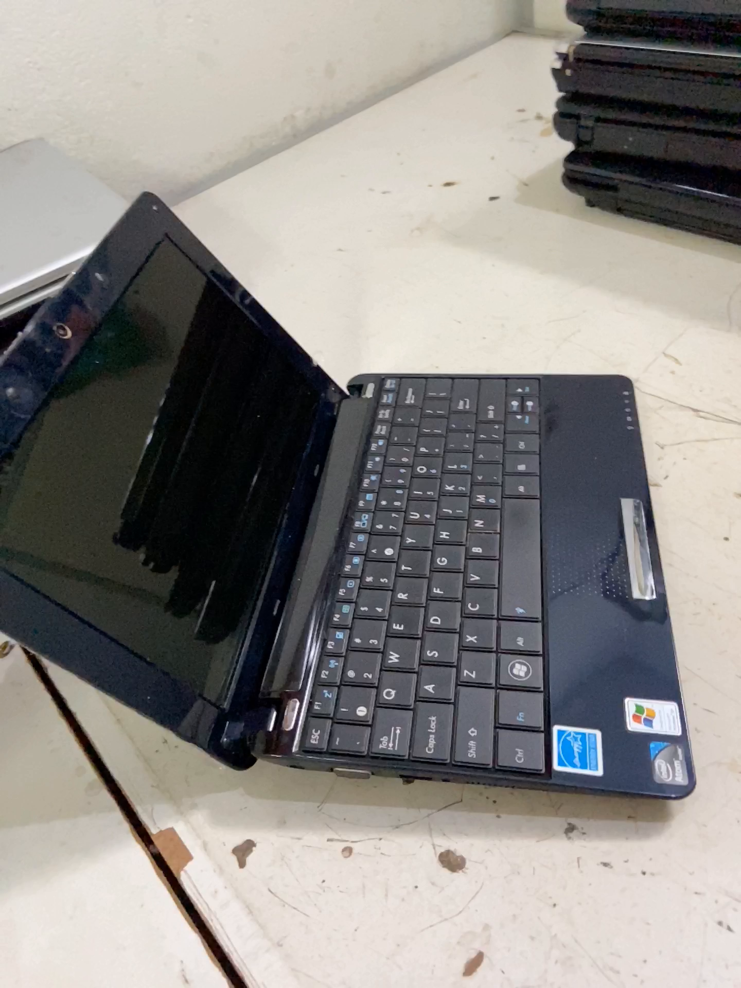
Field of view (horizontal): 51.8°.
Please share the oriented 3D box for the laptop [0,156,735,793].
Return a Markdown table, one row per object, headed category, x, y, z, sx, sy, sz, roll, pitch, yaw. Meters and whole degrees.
| category | x | y | z | sx | sy | sz | roll | pitch | yaw |
| --- | --- | --- | --- | --- | --- | --- | --- | --- | --- |
| laptop | -0.008 | -0.033 | 0.359 | 0.273 | 0.133 | 0.261 | 1 | 45 | 11 |
